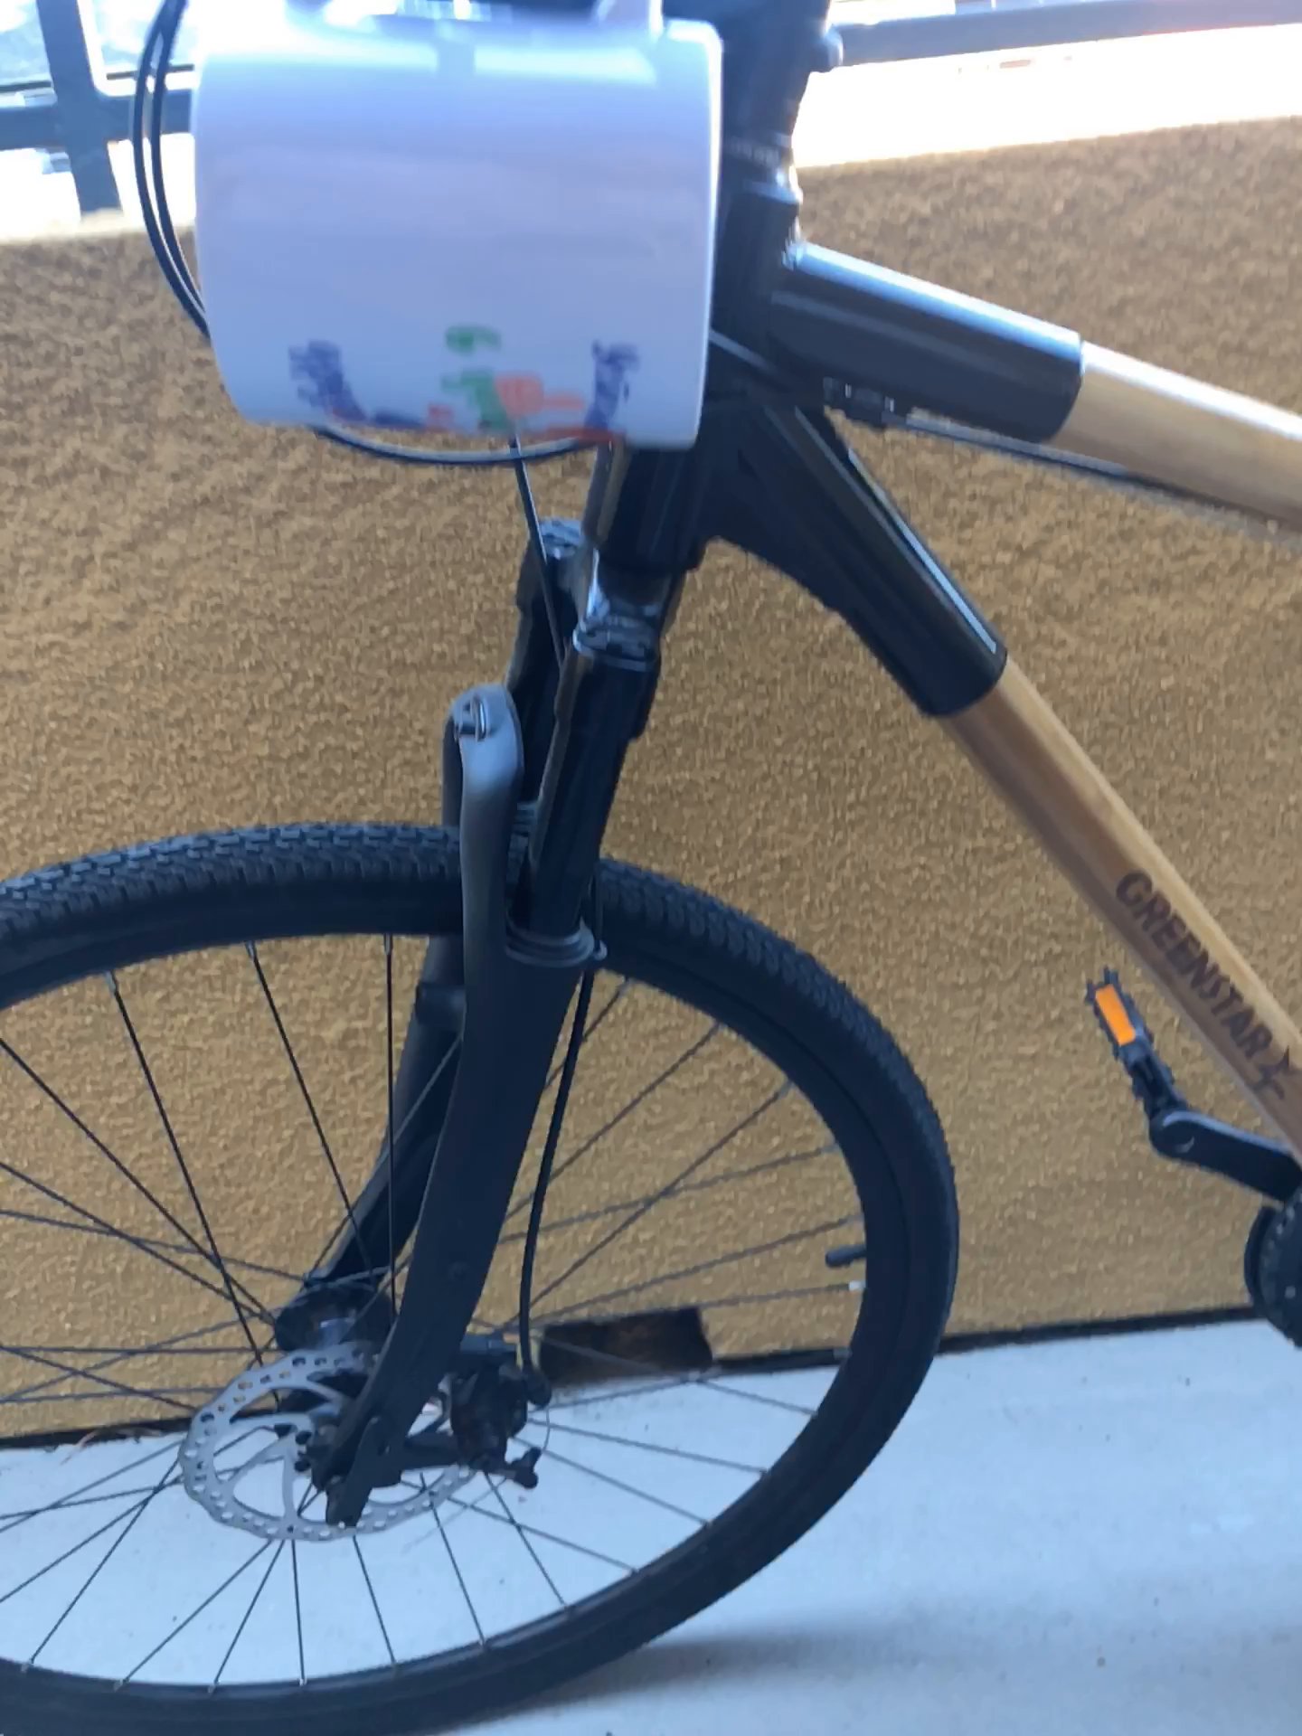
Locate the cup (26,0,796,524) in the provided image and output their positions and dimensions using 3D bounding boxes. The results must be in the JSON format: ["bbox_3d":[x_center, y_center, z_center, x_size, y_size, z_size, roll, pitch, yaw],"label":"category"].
[{"bbox_3d":[-0.033,-0.143,0.292,0.120,0.119,0.091,1,33,6],"label":"cup"}]
